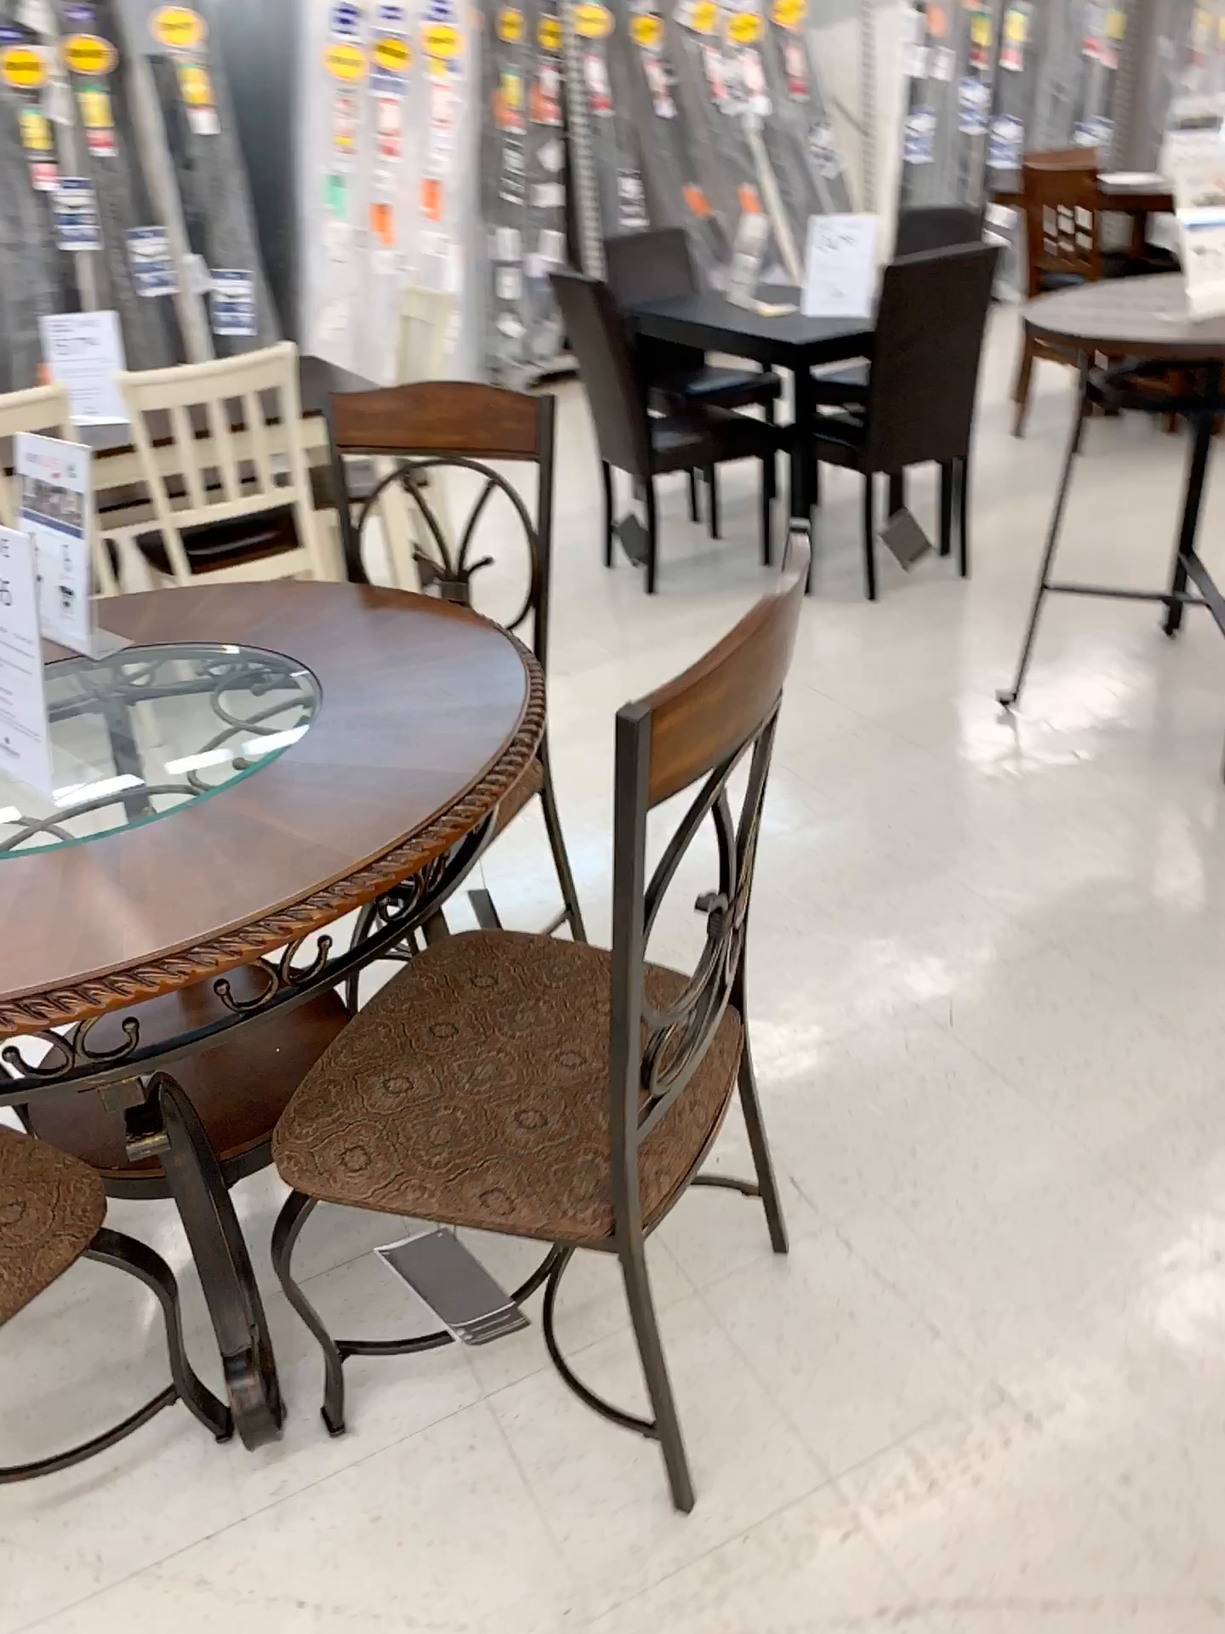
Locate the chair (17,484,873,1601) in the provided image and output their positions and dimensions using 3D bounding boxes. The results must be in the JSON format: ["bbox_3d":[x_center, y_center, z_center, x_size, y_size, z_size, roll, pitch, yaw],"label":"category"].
[{"bbox_3d":[-0.073,0.206,1.352,0.581,0.975,0.522,8,32,25],"label":"chair"}]
